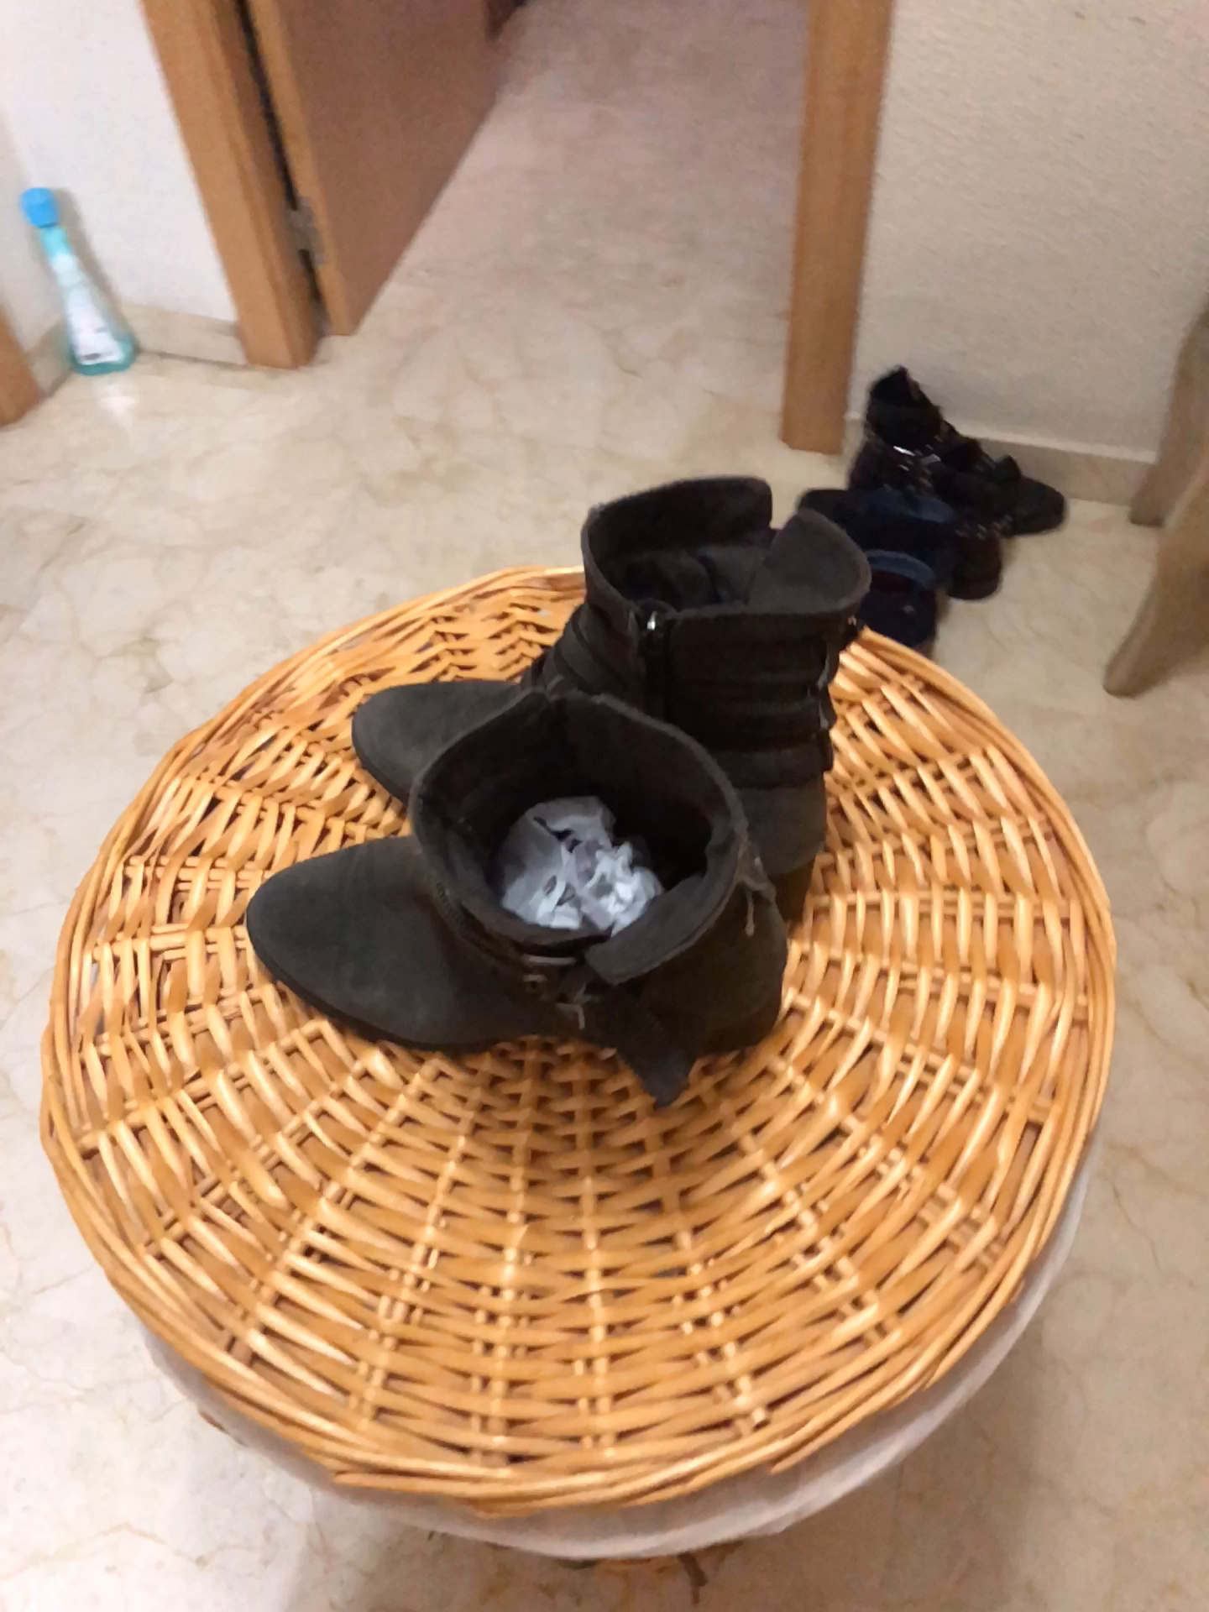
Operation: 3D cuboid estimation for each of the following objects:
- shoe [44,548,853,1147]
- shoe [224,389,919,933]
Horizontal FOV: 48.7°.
[{"bbox_3d":[-0.049,0.019,0.531,0.260,0.169,0.110,12,55,12],"label":"shoe"},{"bbox_3d":[-0.010,-0.066,0.601,0.260,0.169,0.110,12,48,12],"label":"shoe"}]
